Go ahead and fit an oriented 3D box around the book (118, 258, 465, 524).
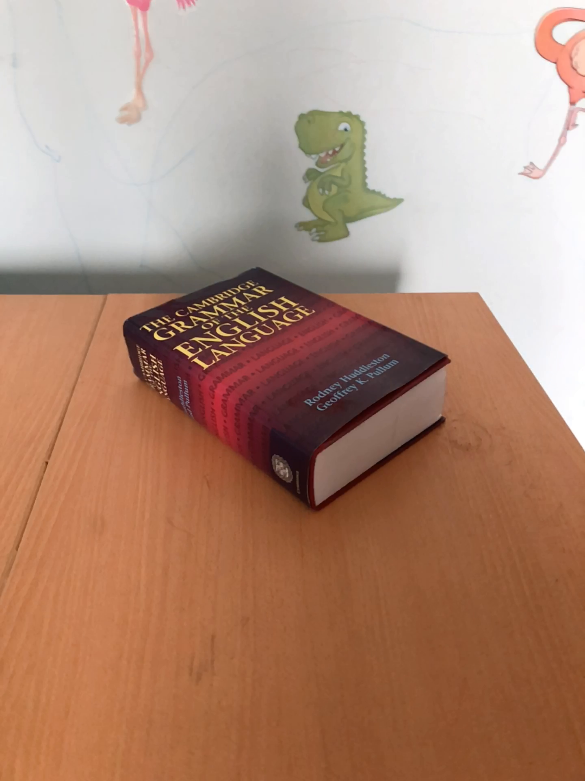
[{"bbox_3d":[-0.006,-0.021,0.614,0.195,0.070,0.260,-30,48,-35],"label":"book"}]
